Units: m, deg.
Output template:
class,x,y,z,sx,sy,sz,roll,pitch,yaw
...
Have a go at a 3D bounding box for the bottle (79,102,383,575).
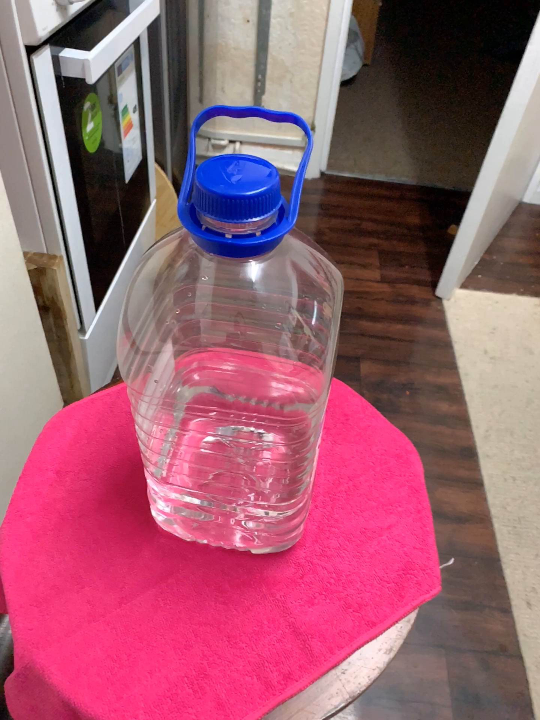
class,x,y,z,sx,sy,sz,roll,pitch,yaw
bottle,-0.022,0.008,0.425,0.140,0.327,0.151,3,45,-3
